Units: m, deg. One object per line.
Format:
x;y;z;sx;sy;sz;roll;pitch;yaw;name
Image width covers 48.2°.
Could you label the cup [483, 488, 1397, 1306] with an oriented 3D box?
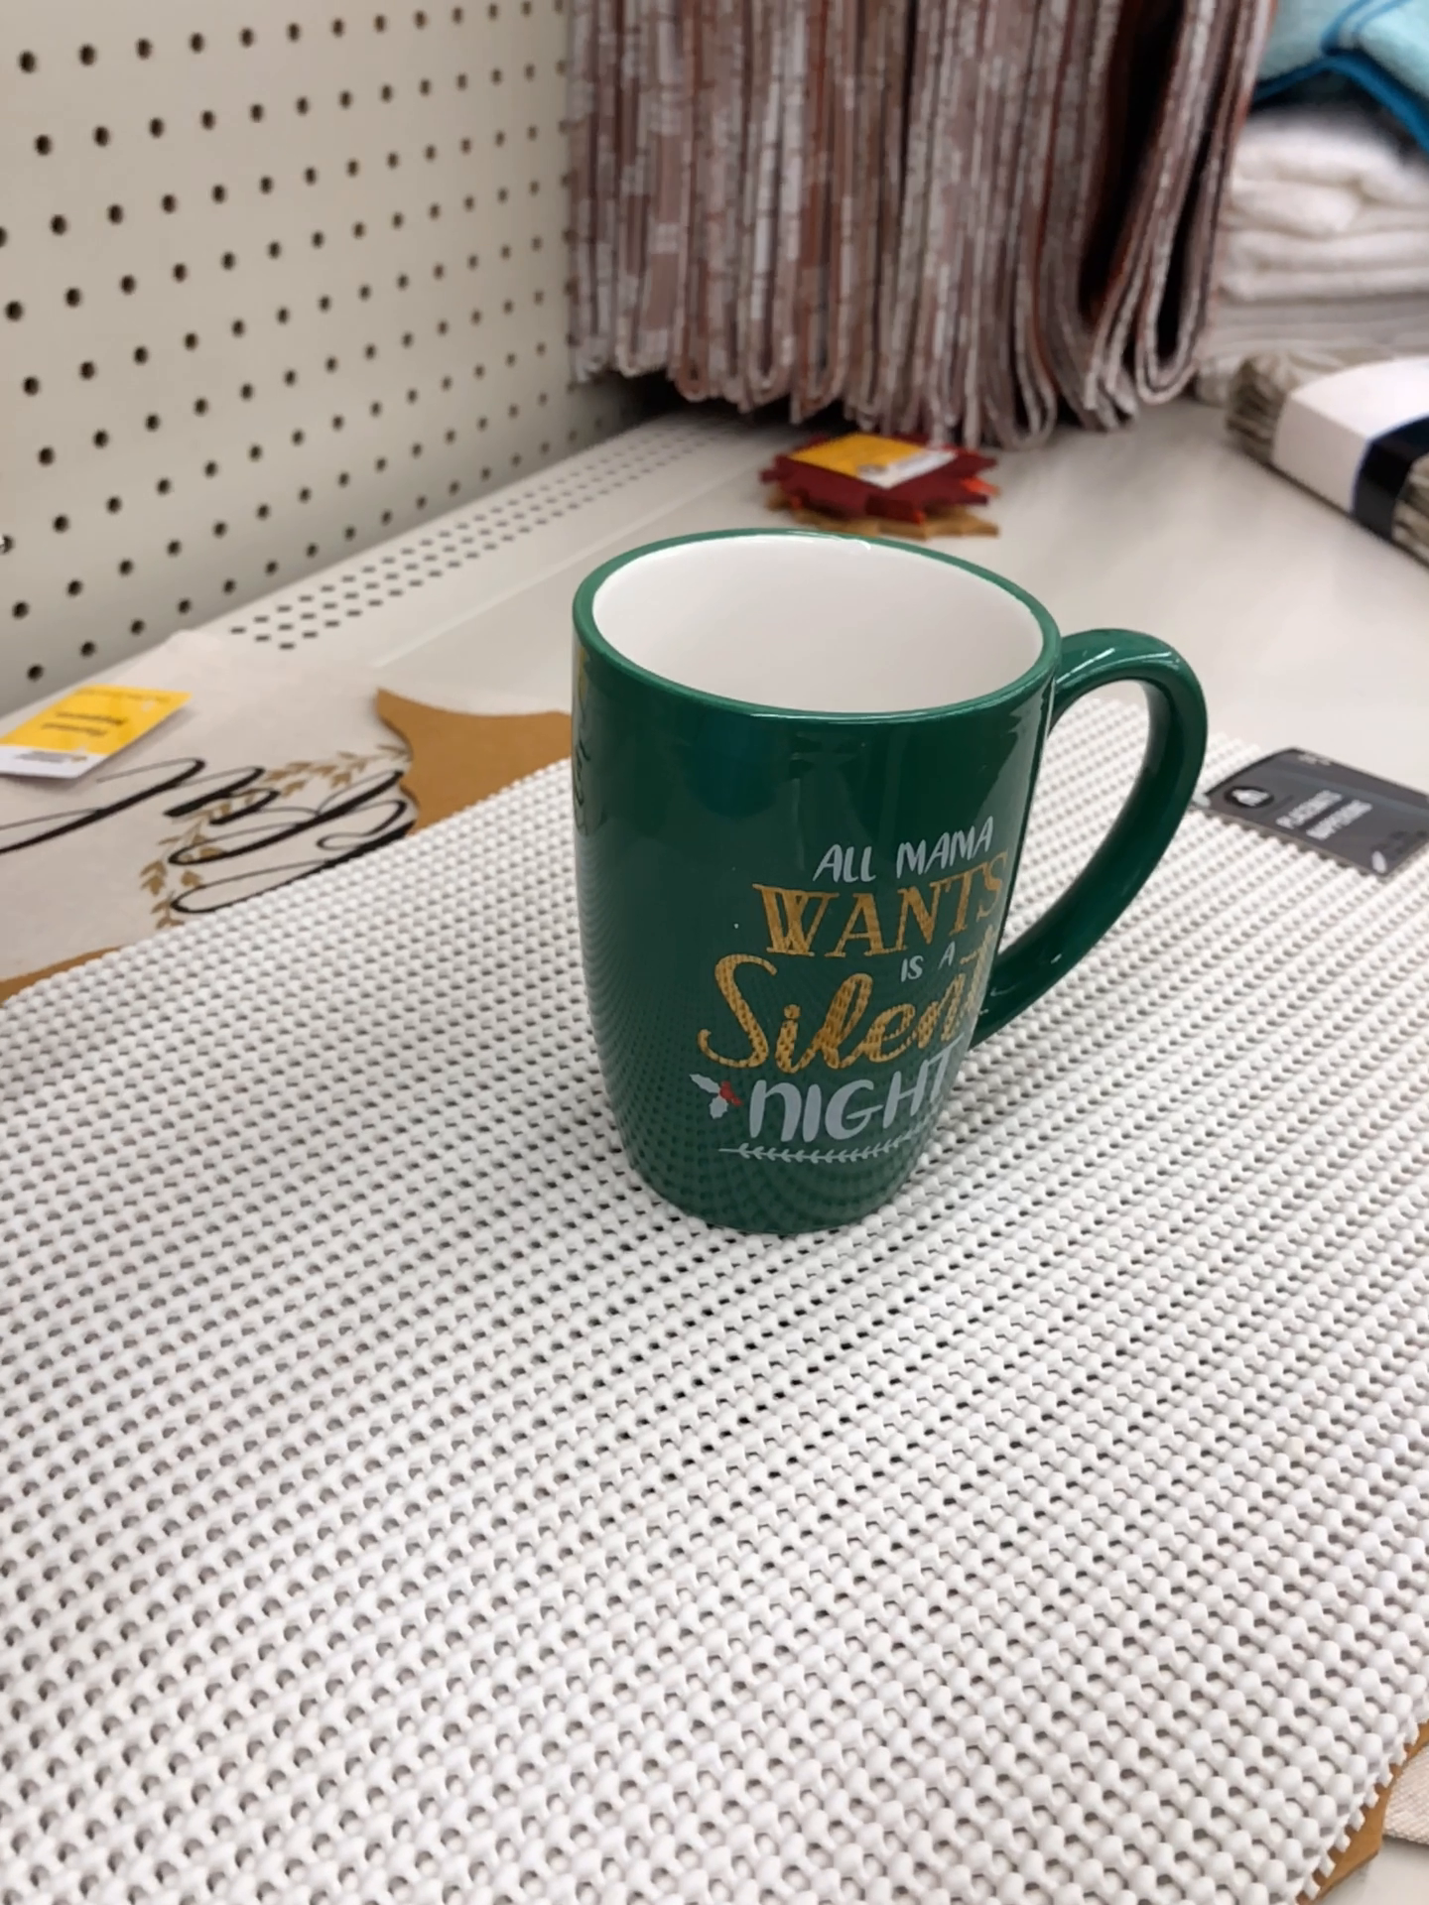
0.037;-0.019;0.330;0.140;0.110;0.100;-12;36;-18;cup
